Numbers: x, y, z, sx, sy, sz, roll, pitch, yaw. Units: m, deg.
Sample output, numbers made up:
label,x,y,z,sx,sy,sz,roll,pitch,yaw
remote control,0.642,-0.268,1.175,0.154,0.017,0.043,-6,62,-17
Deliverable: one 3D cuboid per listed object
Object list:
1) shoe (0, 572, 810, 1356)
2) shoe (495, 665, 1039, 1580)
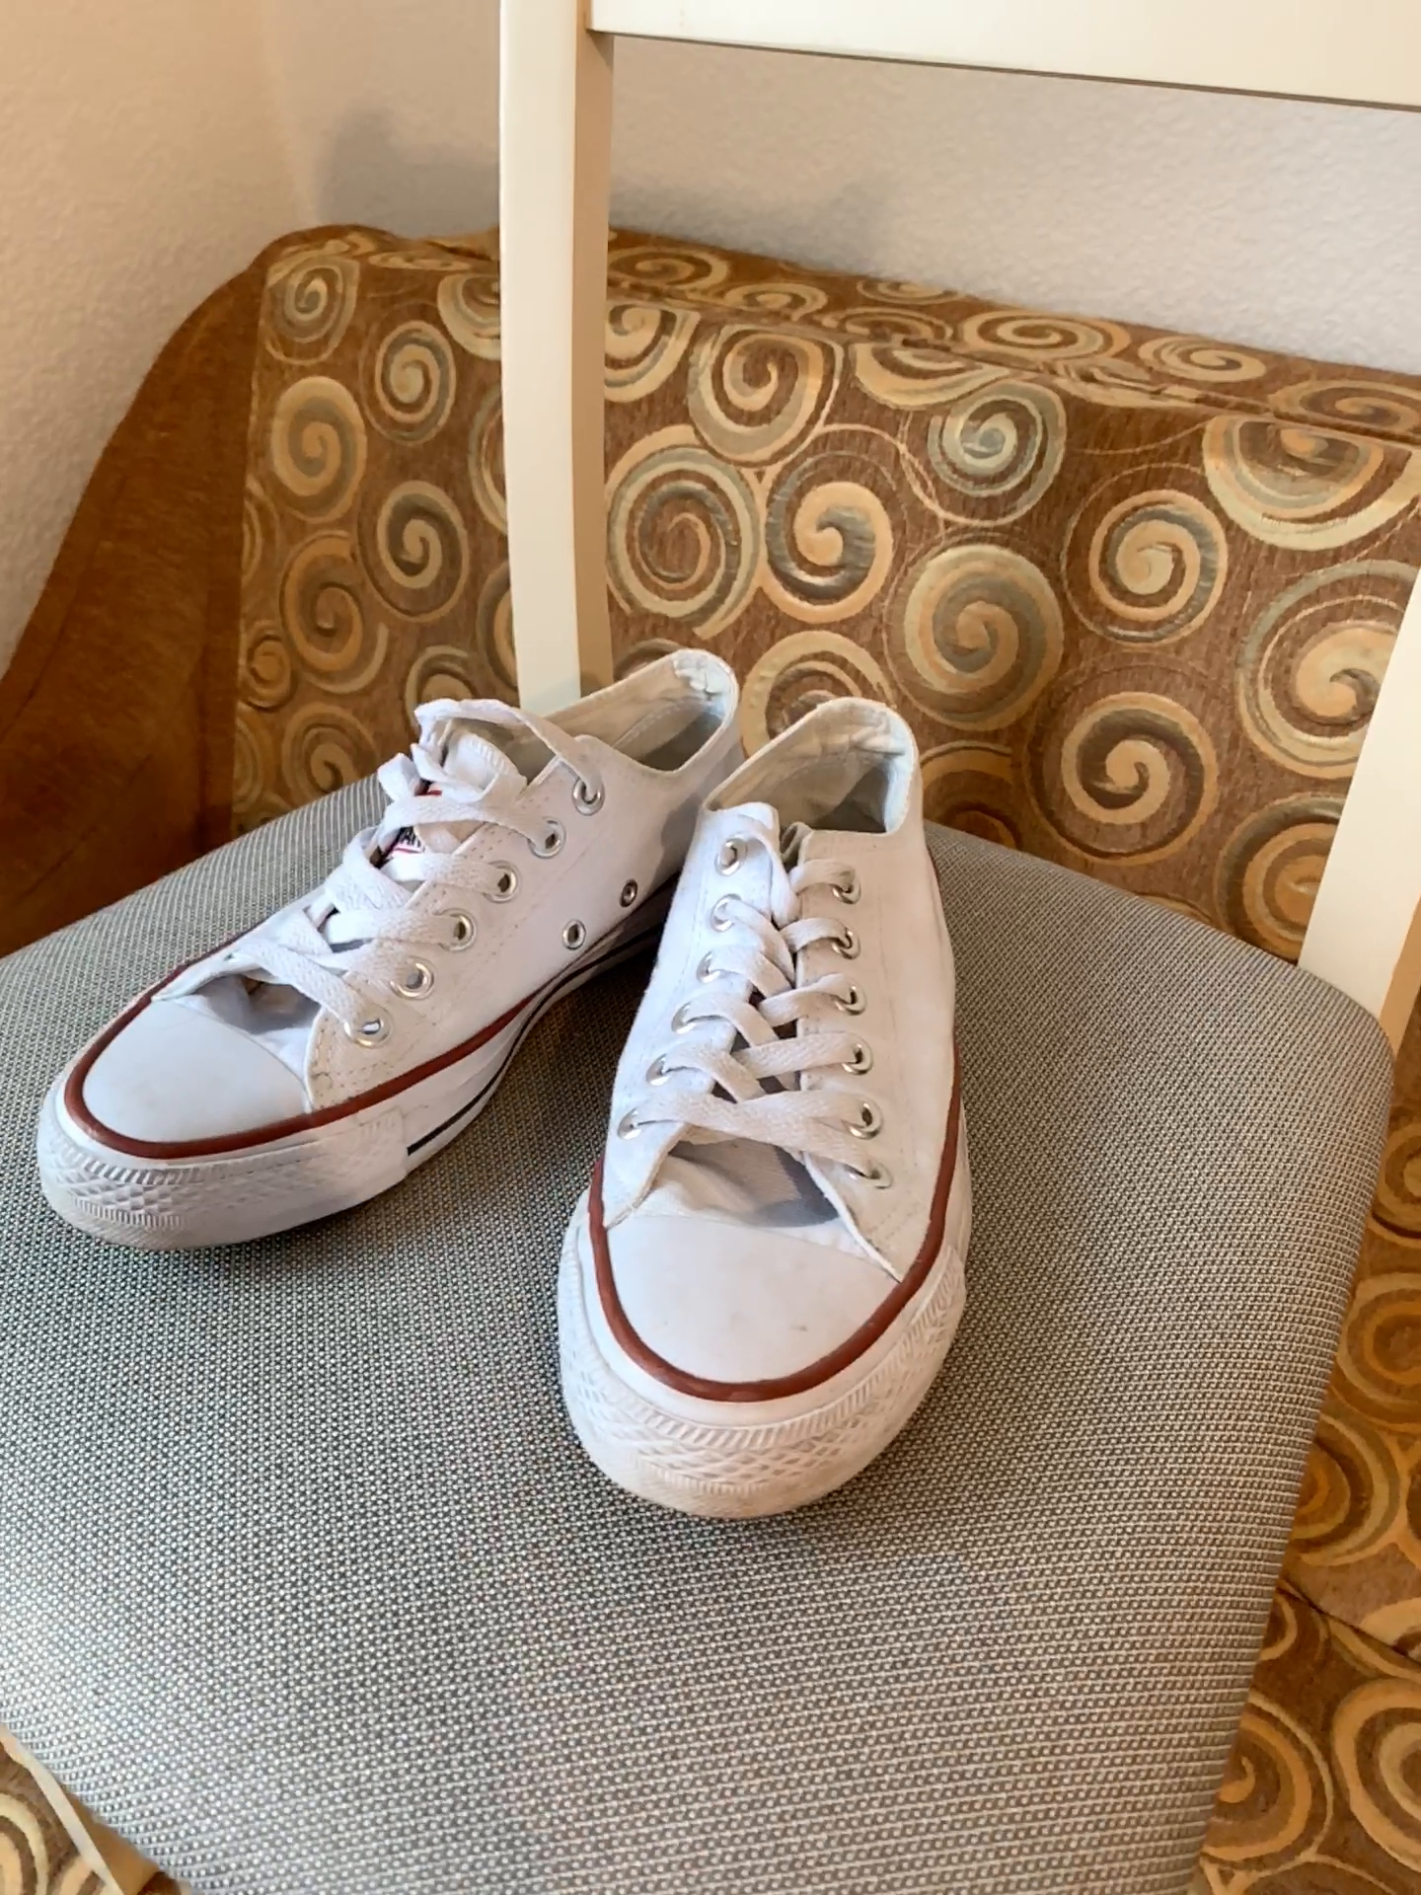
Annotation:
label,x,y,z,sx,sy,sz,roll,pitch,yaw
shoe,-0.073,-0.013,0.379,0.090,0.060,0.221,25,49,27
shoe,0.024,0.020,0.342,0.090,0.060,0.221,3,43,7
